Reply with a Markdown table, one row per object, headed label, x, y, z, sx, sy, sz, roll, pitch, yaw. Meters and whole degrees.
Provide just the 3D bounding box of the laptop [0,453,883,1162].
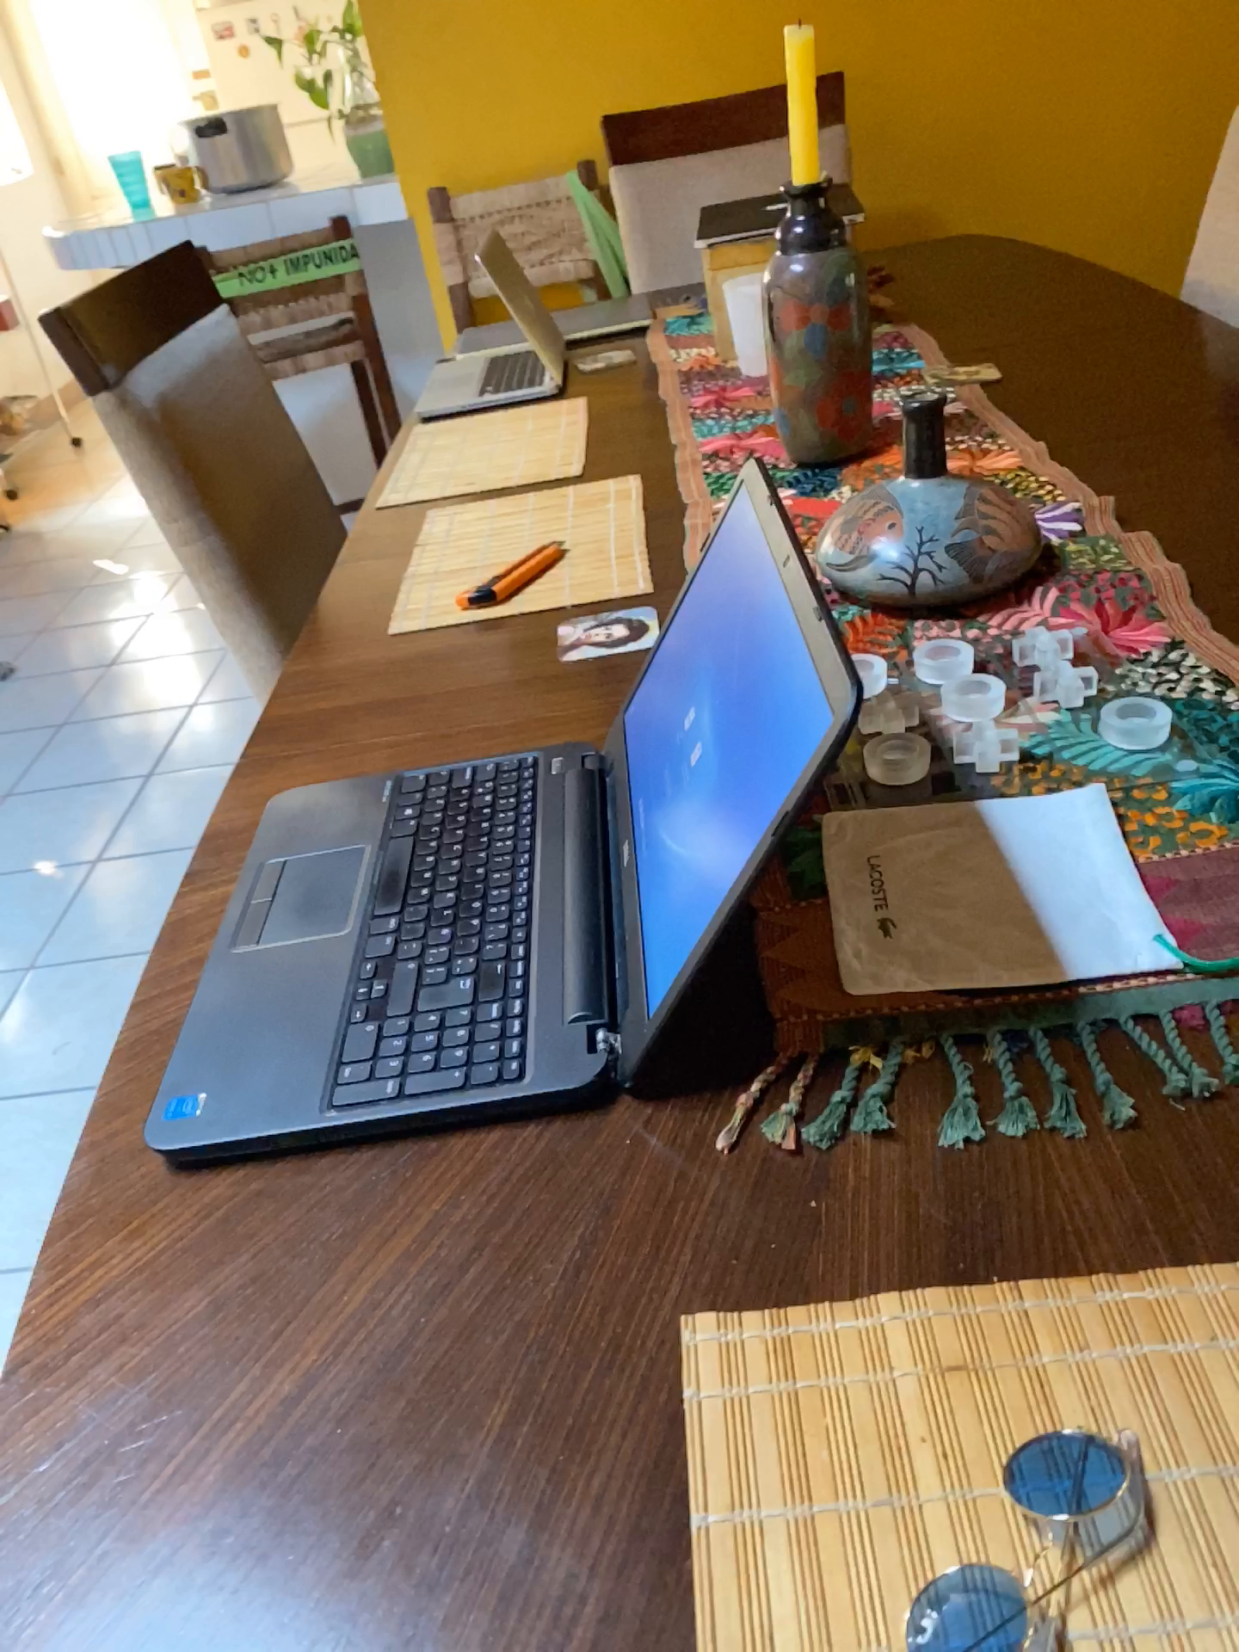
| label | x | y | z | sx | sy | sz | roll | pitch | yaw |
| --- | --- | --- | --- | --- | --- | --- | --- | --- | --- |
| laptop | -0.083 | -0.037 | 0.761 | 0.395 | 0.194 | 0.369 | -10 | 33 | 3 |
